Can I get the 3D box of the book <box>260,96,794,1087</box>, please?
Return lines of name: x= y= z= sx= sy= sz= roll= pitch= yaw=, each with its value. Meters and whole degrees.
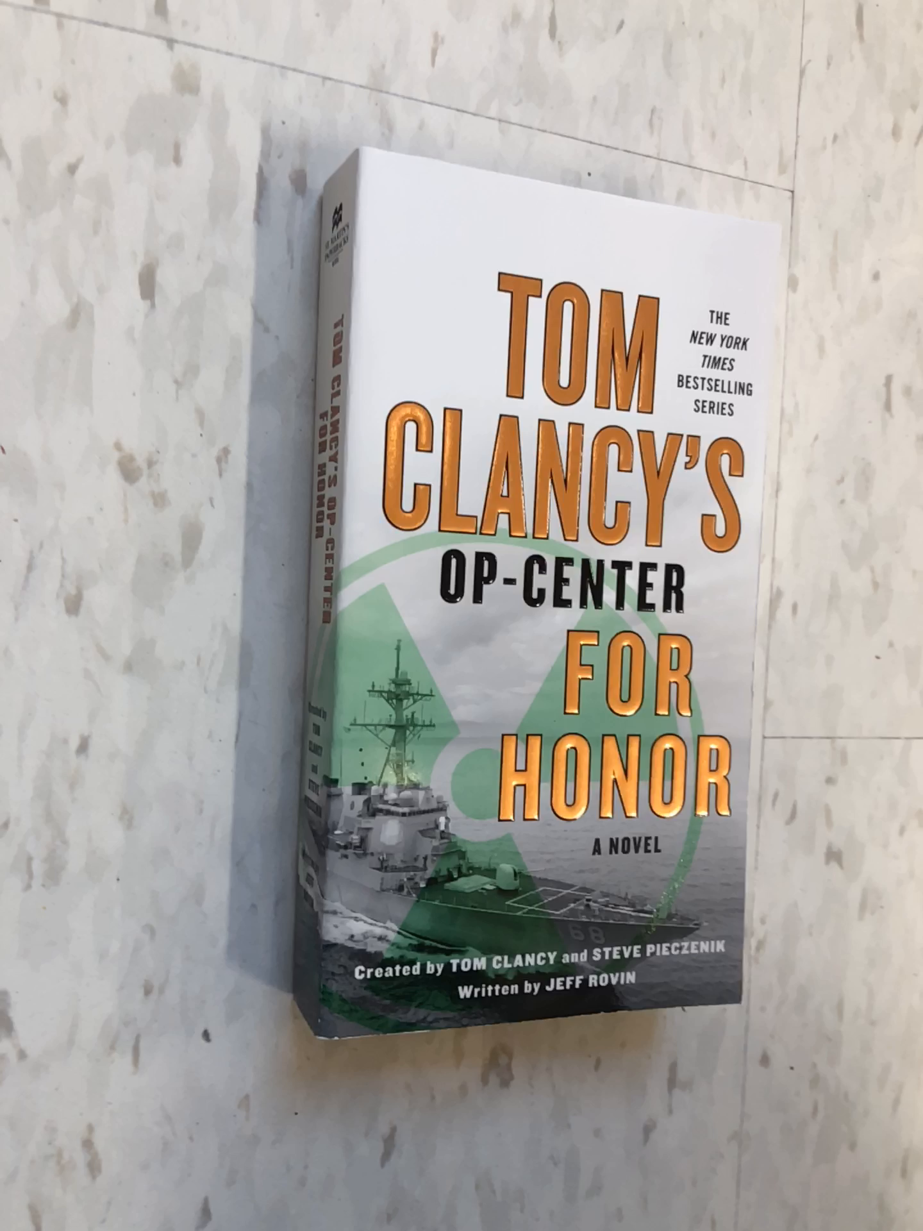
book: x=0.015 y=-0.003 z=0.250 sx=0.110 sy=0.050 sz=0.200 roll=3 pitch=90 yaw=-22
